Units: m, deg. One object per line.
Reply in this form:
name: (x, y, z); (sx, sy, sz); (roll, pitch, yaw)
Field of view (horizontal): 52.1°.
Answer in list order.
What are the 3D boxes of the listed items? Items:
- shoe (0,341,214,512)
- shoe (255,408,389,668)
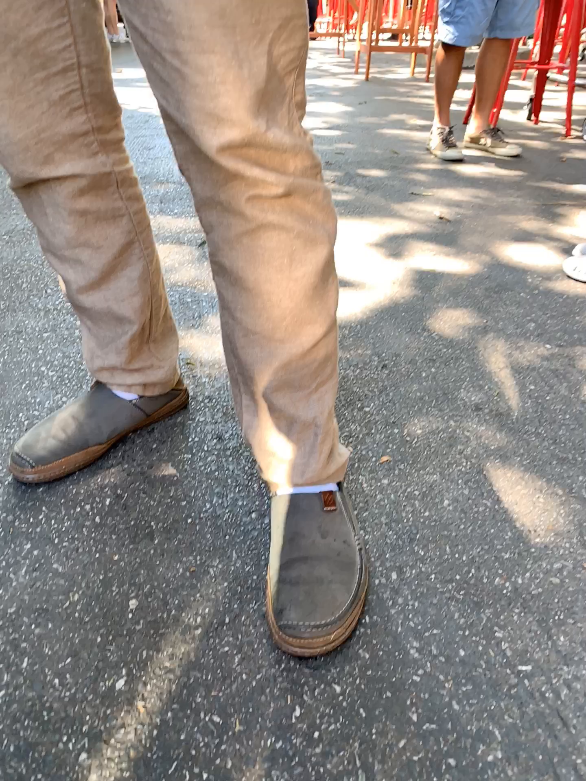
shoe: (-0.271, 0.035, 0.867); (0.120, 0.060, 0.321); (22, 40, 31)
shoe: (0.019, 0.148, 0.705); (0.120, 0.080, 0.322); (-3, 33, -2)
